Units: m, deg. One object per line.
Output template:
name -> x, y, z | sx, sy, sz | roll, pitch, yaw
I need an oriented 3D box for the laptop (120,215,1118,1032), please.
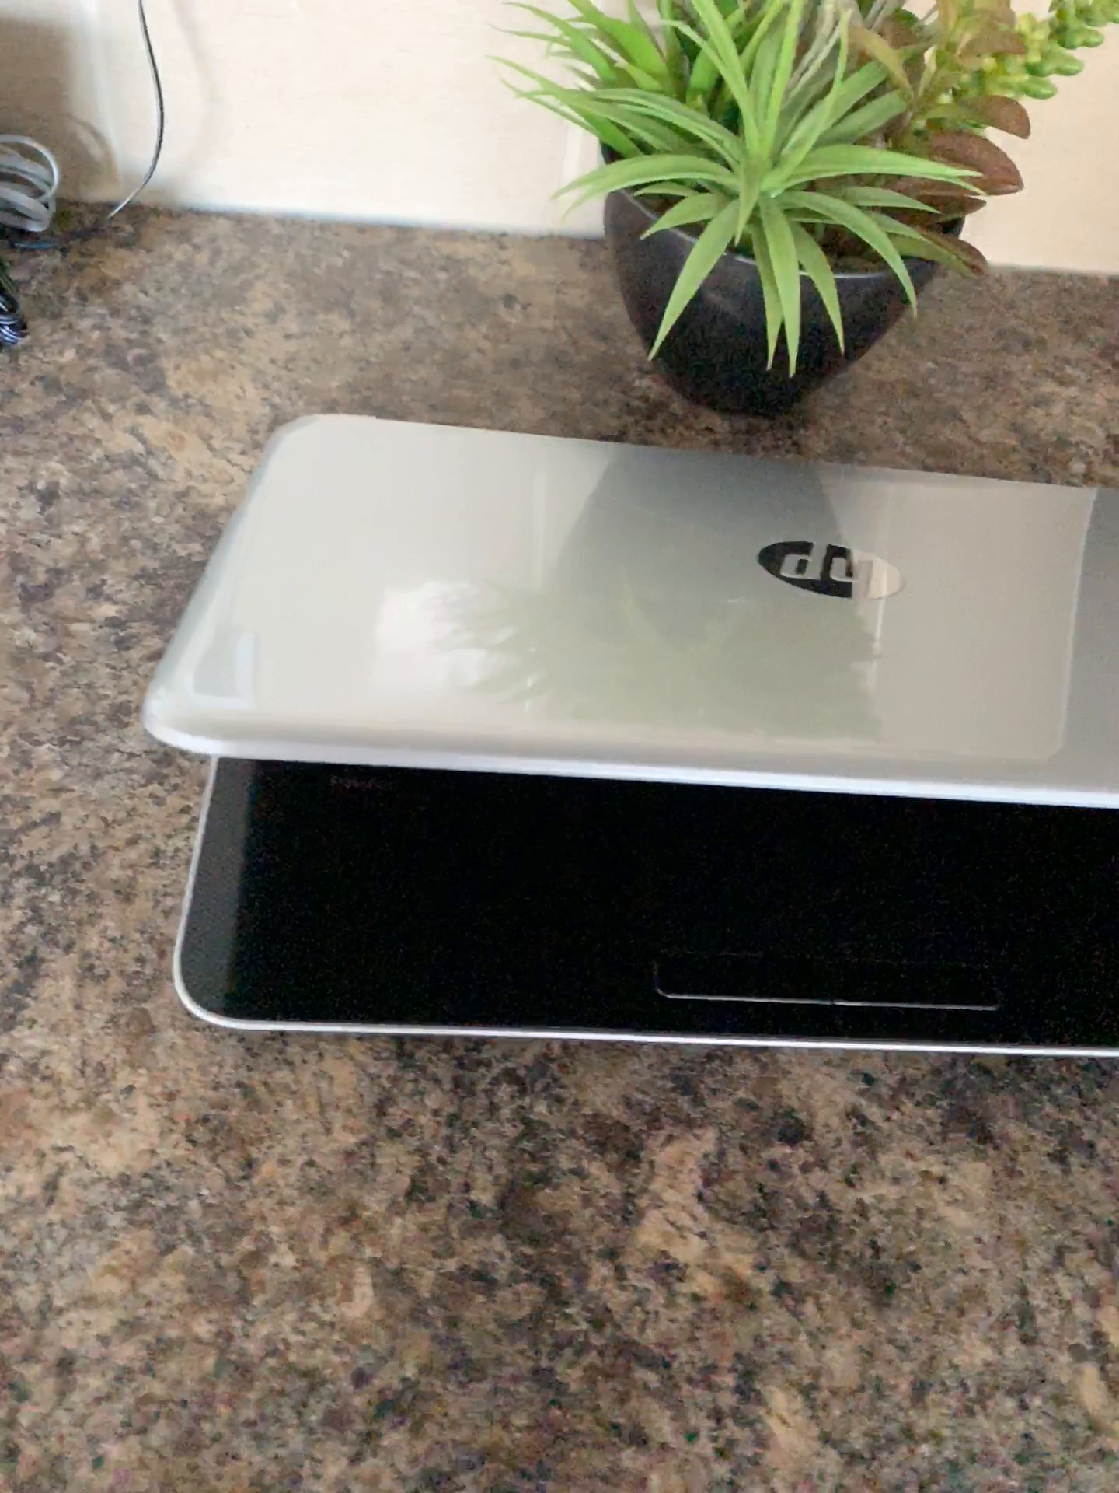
laptop -> 0.073, -0.038, 0.329 | 0.328, 0.081, 0.207 | 3, 54, -7
